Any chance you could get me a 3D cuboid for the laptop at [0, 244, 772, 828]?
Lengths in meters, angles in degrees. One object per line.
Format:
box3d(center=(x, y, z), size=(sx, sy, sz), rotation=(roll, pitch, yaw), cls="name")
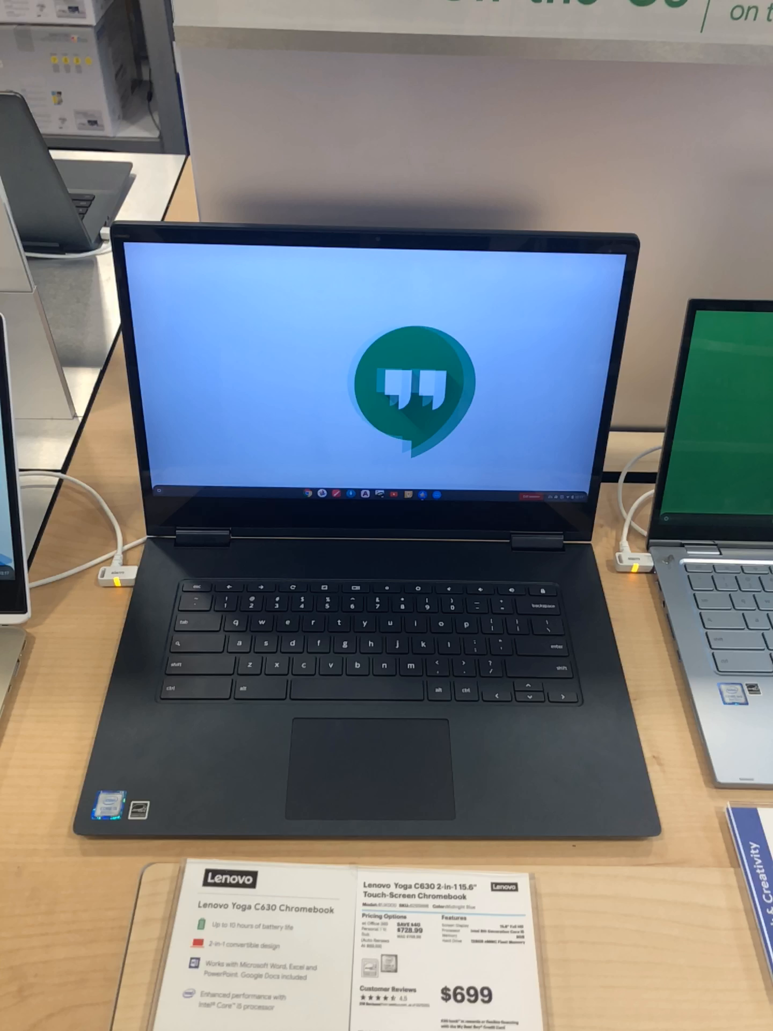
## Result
box3d(center=(-0.003, 0.003, 0.536), size=(0.343, 0.230, 0.293), rotation=(0, 44, -1), cls="laptop")
